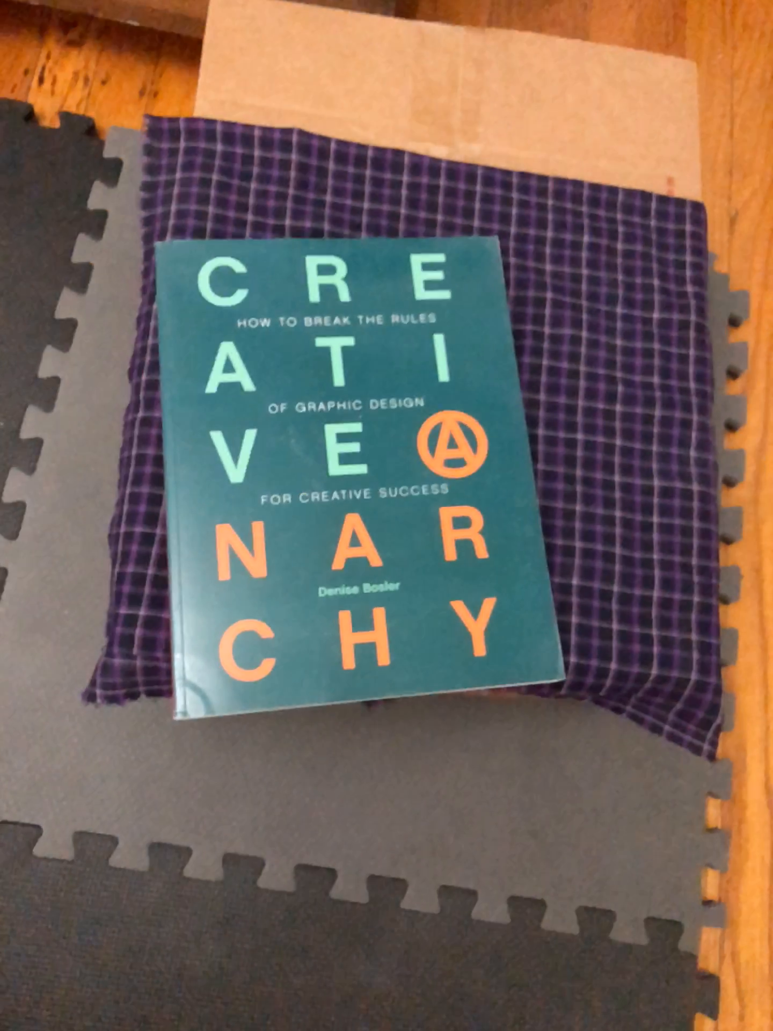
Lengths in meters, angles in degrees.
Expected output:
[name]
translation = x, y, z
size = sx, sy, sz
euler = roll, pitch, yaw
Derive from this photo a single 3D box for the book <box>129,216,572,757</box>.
[book]
translation = -0.027, -0.030, 0.487
size = 0.220, 0.020, 0.300
euler = -4, 76, -8
